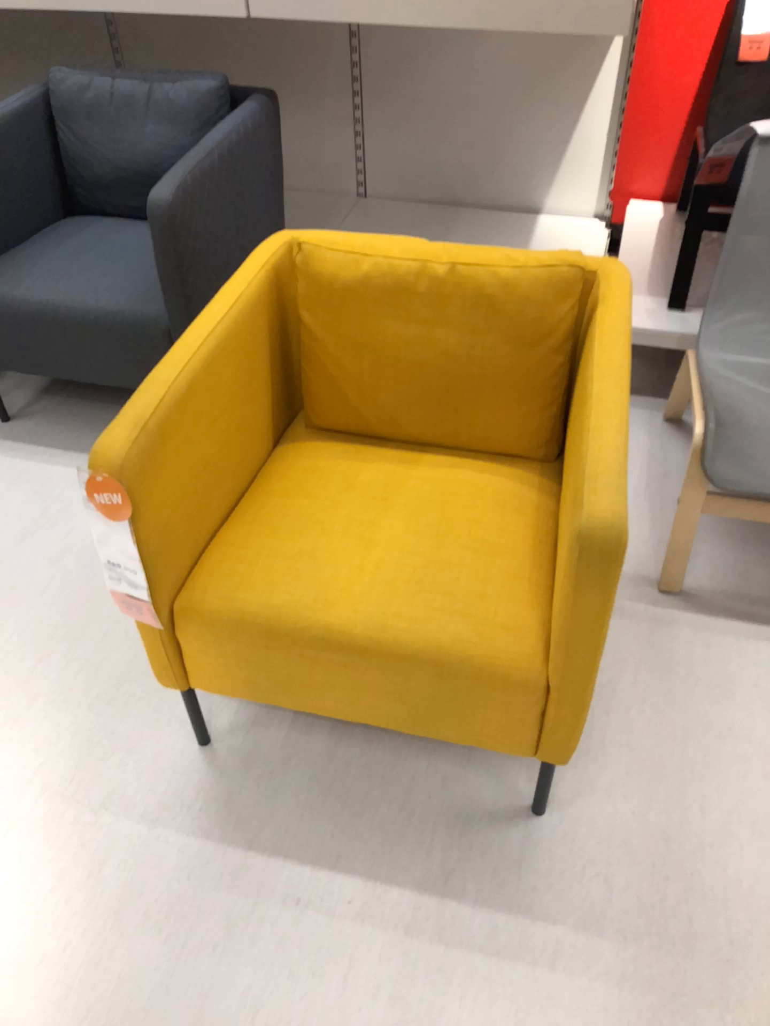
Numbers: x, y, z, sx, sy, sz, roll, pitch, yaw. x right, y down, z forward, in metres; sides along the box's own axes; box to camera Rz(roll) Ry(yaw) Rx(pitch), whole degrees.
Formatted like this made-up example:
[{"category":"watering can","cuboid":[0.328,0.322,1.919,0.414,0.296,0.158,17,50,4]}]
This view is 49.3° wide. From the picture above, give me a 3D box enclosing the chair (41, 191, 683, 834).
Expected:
[{"category":"chair","cuboid":[0.034,-0.026,1.380,0.720,0.696,0.664,9,44,11]}]
